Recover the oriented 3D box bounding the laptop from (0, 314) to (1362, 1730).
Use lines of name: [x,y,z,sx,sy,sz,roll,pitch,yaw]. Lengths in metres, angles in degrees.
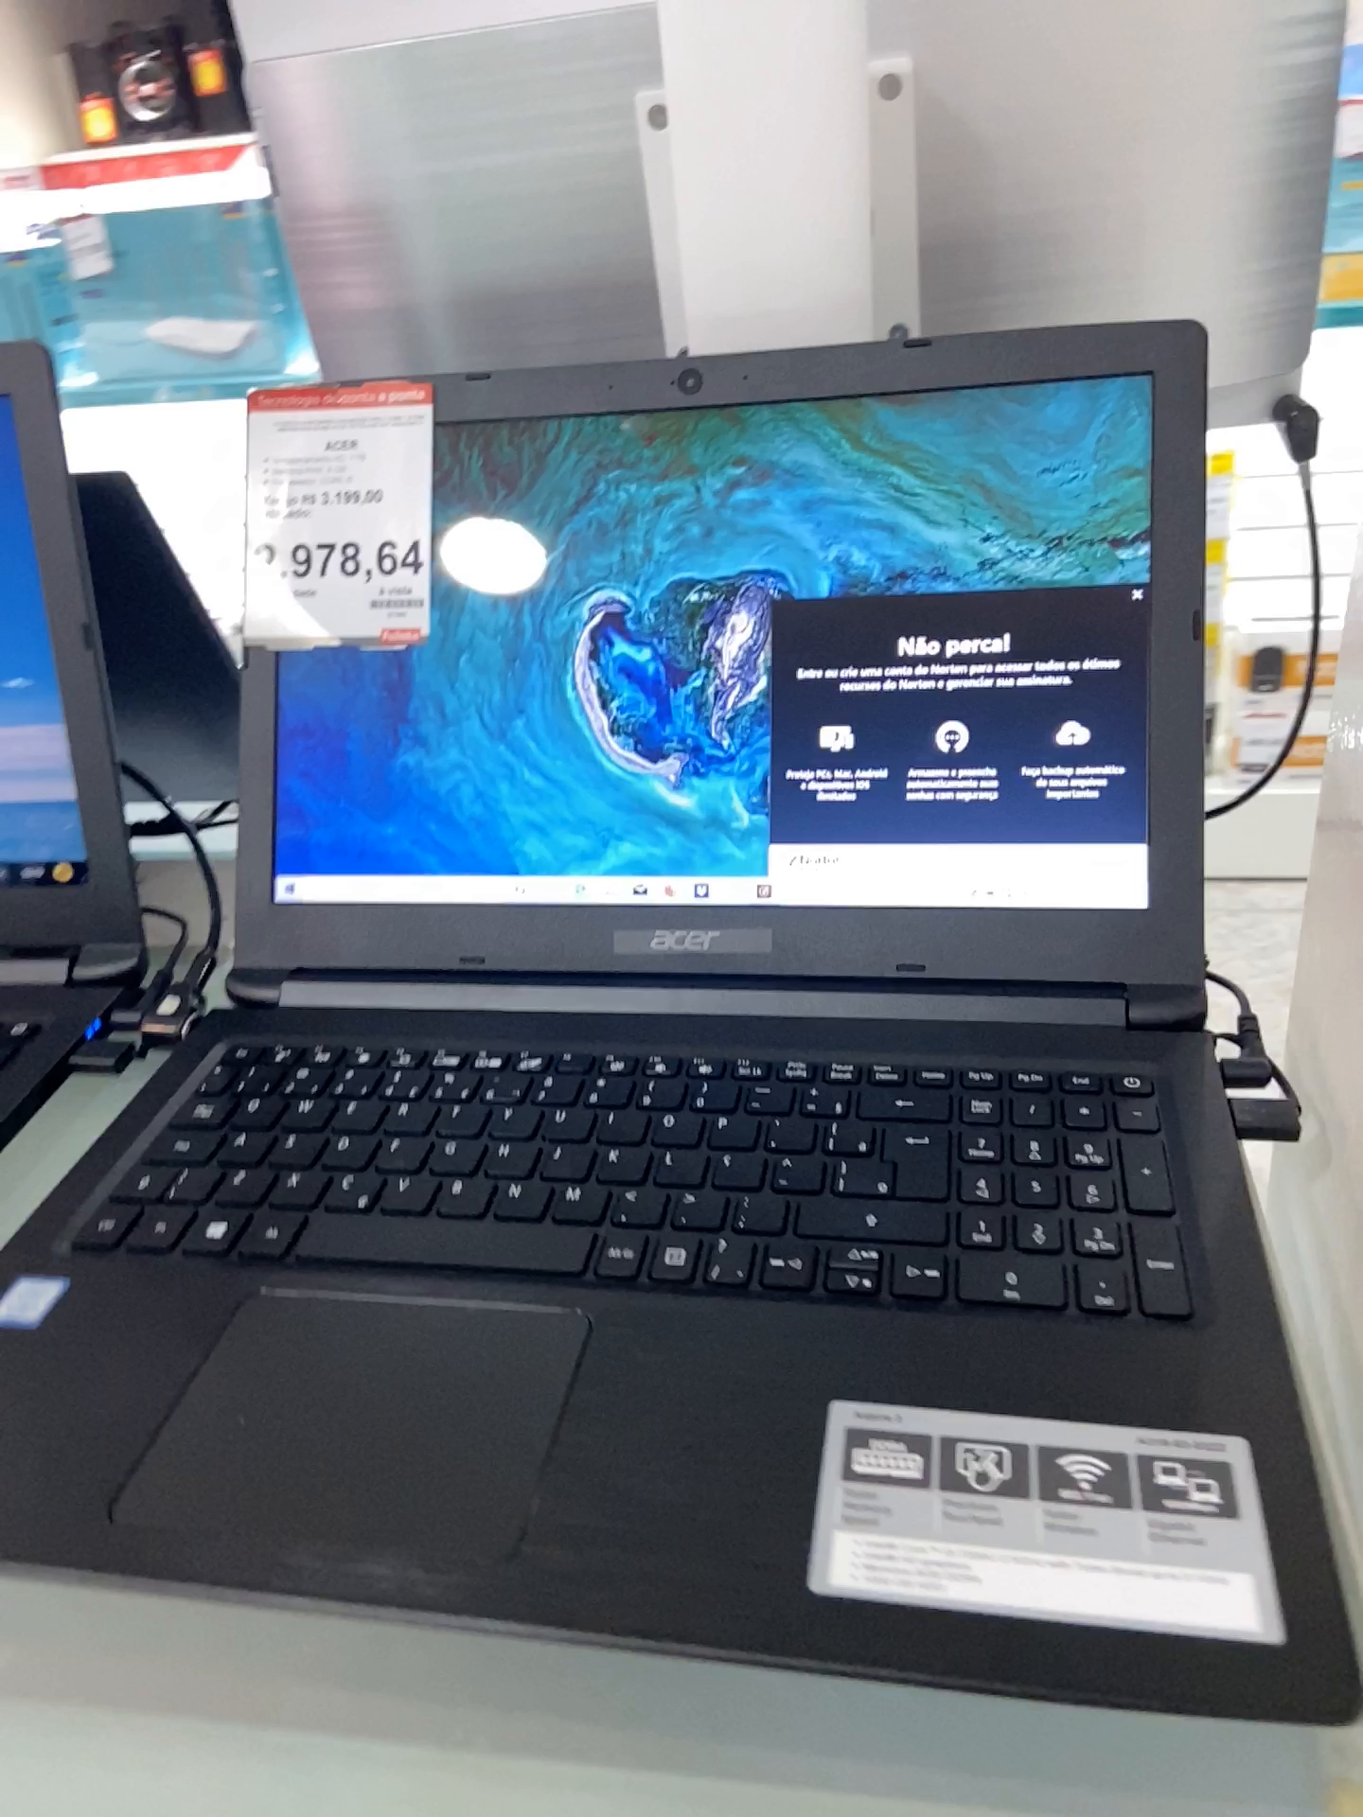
laptop: [-0.022,-0.028,0.422,0.369,0.205,0.377,0,29,12]
